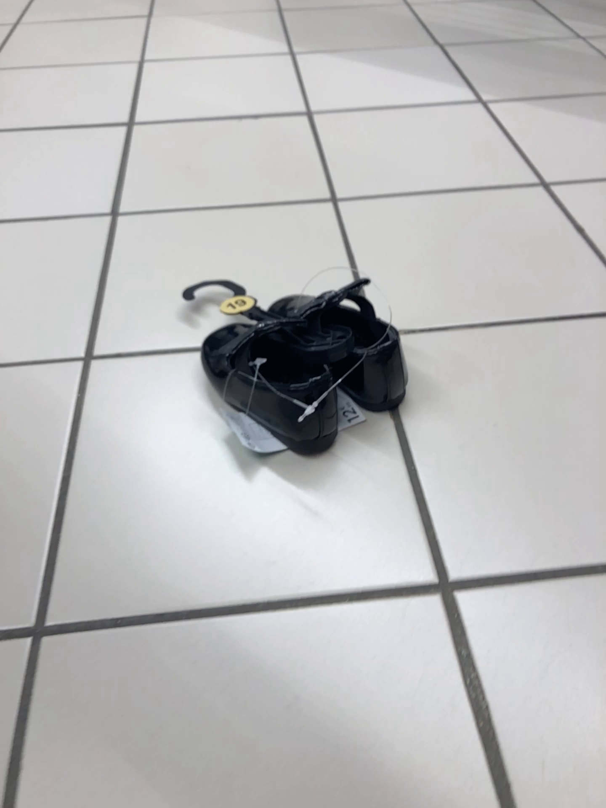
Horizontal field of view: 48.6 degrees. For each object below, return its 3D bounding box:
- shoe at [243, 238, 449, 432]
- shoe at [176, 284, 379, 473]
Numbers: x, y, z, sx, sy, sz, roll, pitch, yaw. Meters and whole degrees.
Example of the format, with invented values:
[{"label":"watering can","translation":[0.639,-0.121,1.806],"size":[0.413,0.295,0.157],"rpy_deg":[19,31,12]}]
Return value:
[{"label":"shoe","translation":[0.024,-0.049,0.437],"size":[0.061,0.052,0.125],"rpy_deg":[-30,51,-26]},{"label":"shoe","translation":[-0.018,-0.021,0.419],"size":[0.061,0.037,0.123],"rpy_deg":[-30,51,-26]}]
